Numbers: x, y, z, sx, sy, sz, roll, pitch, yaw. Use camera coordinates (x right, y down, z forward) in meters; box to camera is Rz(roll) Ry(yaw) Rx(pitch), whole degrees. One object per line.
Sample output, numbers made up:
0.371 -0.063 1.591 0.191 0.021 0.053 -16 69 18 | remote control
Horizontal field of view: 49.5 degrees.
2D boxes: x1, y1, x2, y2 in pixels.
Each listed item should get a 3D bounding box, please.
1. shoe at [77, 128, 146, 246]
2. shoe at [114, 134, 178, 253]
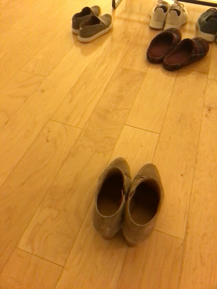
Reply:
0.015 0.096 0.590 0.110 0.109 0.252 11 52 7 | shoe
0.098 0.113 0.587 0.110 0.109 0.252 12 52 7 | shoe
